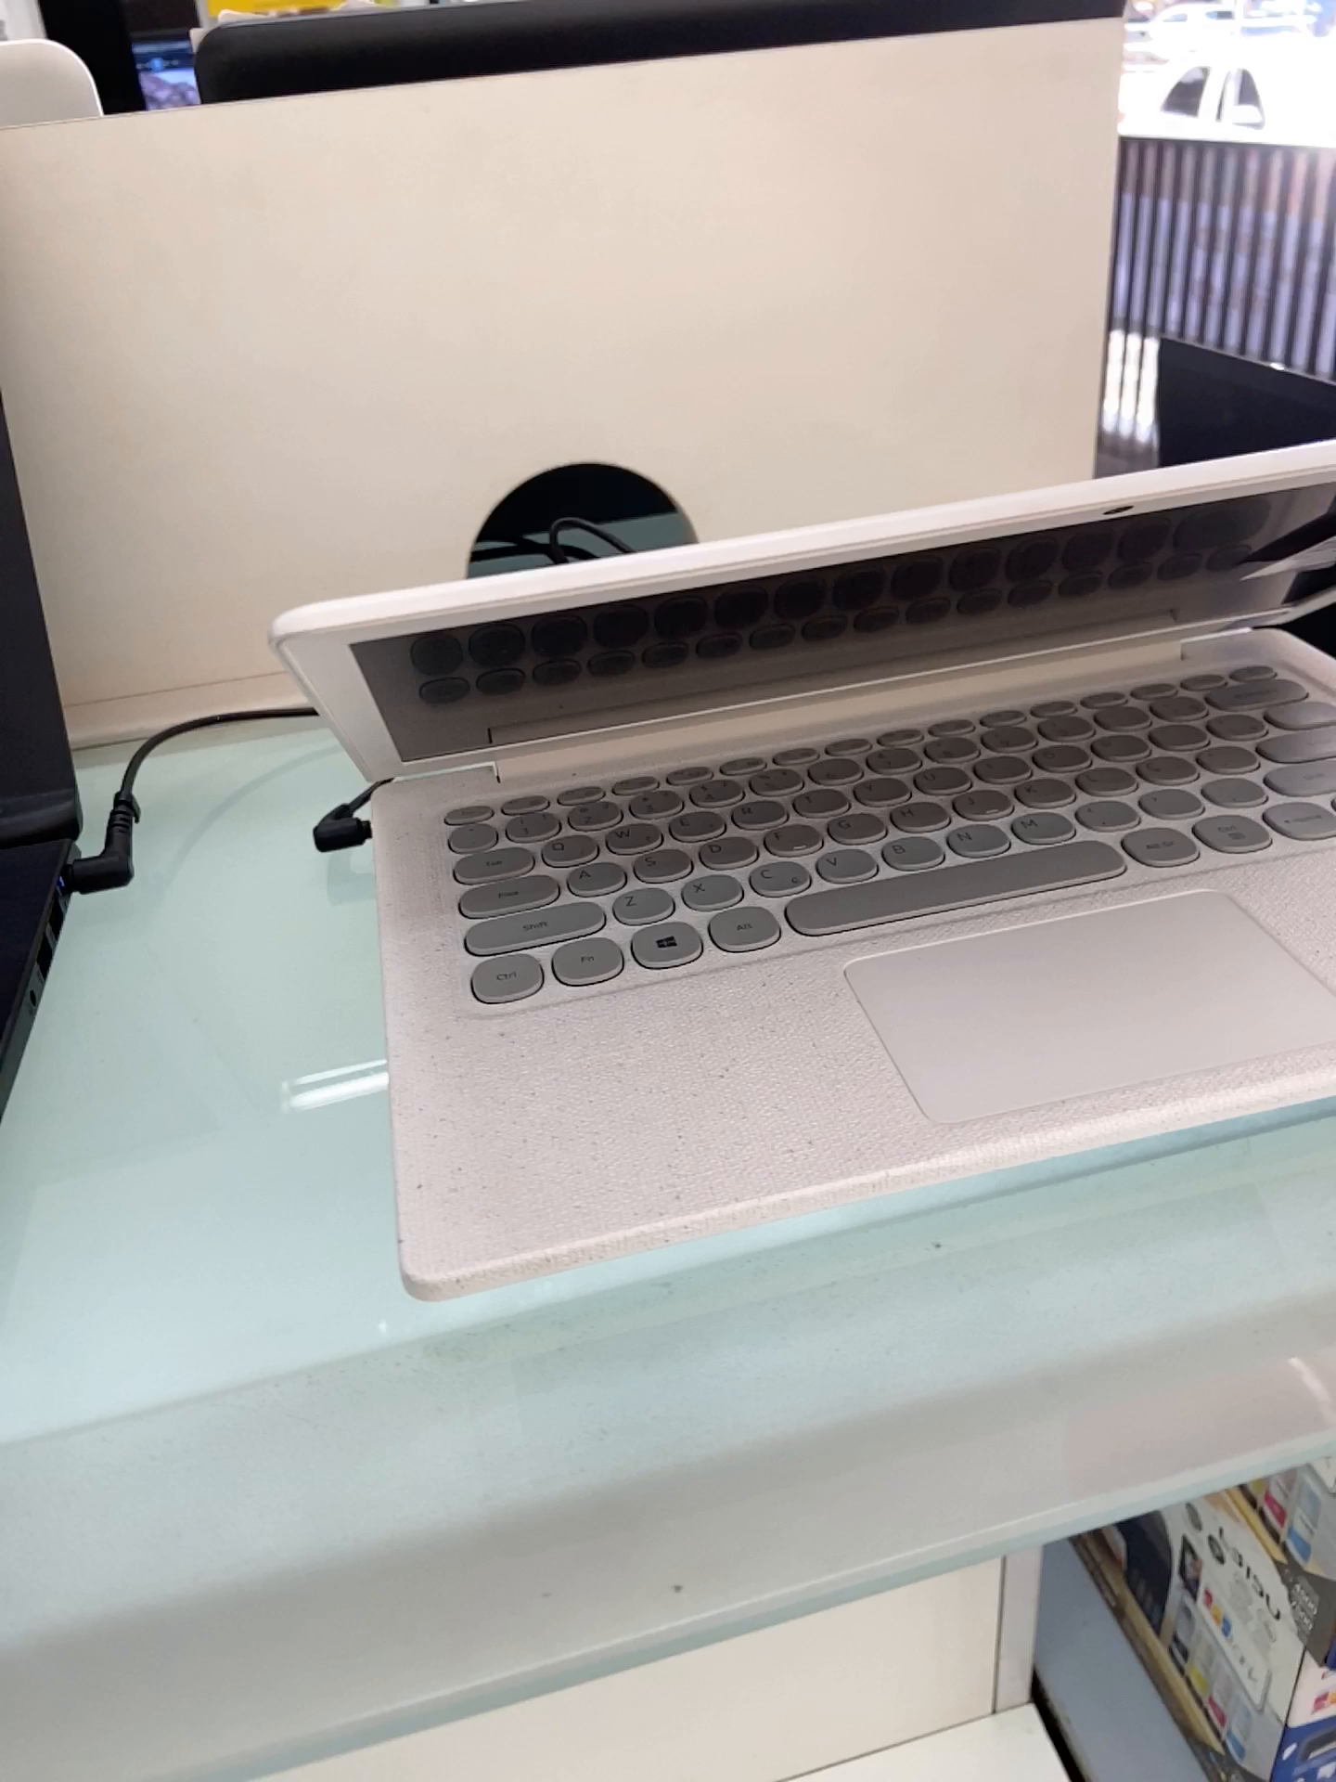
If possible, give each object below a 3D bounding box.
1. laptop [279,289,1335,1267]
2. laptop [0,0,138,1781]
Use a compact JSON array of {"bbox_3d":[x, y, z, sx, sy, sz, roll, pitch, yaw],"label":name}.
[{"bbox_3d":[0.075,-0.057,0.343,0.312,0.108,0.207,-11,32,-8],"label":"laptop"},{"bbox_3d":[-0.374,-0.045,0.298,0.401,0.213,0.375,-10,31,-7],"label":"laptop"}]
